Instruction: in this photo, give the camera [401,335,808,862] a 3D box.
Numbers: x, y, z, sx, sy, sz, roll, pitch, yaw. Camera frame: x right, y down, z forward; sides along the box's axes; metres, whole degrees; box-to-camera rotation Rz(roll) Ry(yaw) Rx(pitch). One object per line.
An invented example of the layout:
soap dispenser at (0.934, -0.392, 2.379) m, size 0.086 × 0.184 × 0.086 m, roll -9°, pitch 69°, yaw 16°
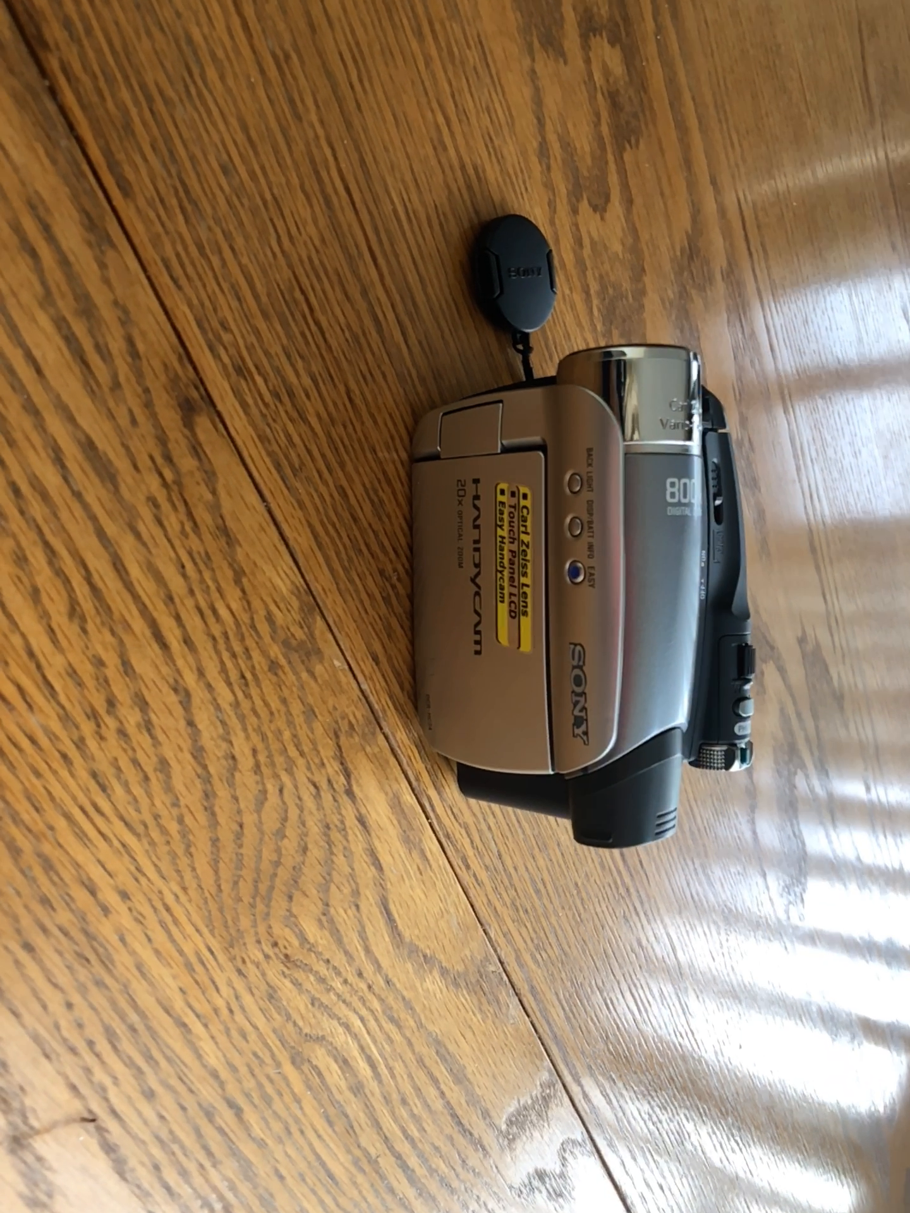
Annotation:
camera at (0.041, -0.005, 0.266) m, size 0.080 × 0.072 × 0.111 m, roll -6°, pitch 97°, yaw -47°
